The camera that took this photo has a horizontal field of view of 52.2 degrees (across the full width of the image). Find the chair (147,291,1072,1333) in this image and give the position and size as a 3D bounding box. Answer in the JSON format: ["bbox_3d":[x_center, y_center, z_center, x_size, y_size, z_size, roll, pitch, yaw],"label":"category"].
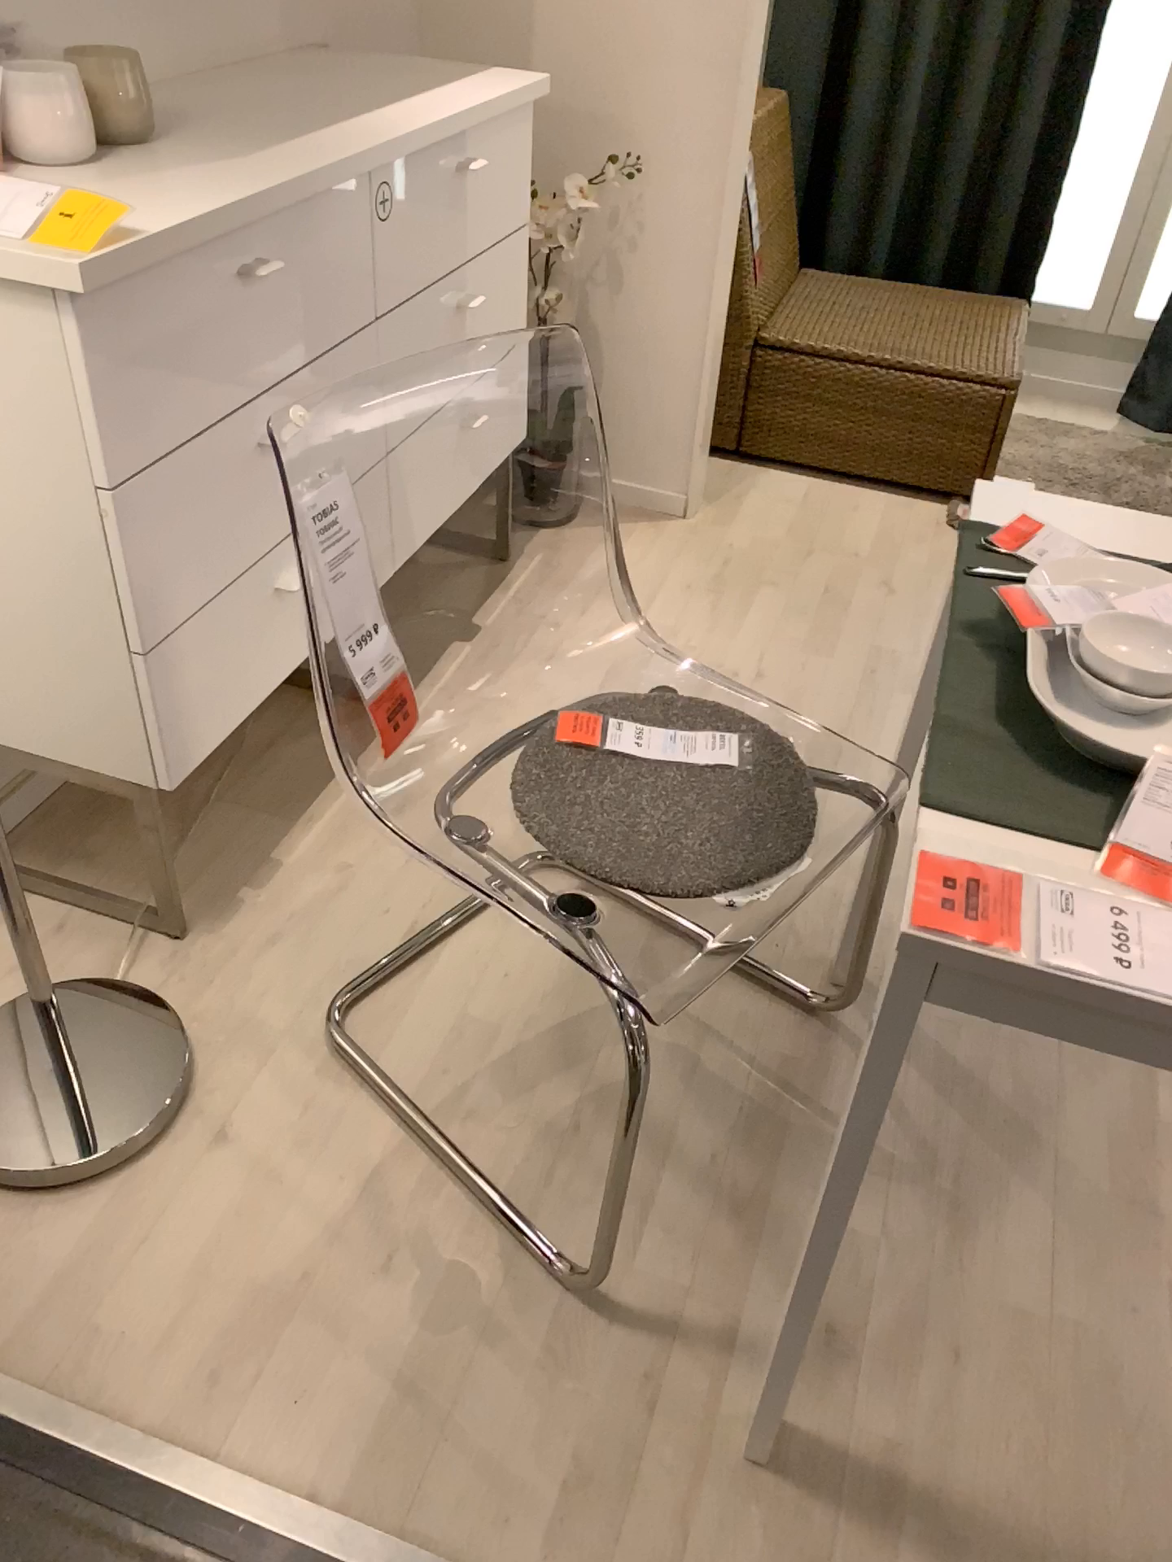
[{"bbox_3d":[0.010,-0.001,1.318,0.592,0.791,0.593,31,45,28],"label":"chair"}]
